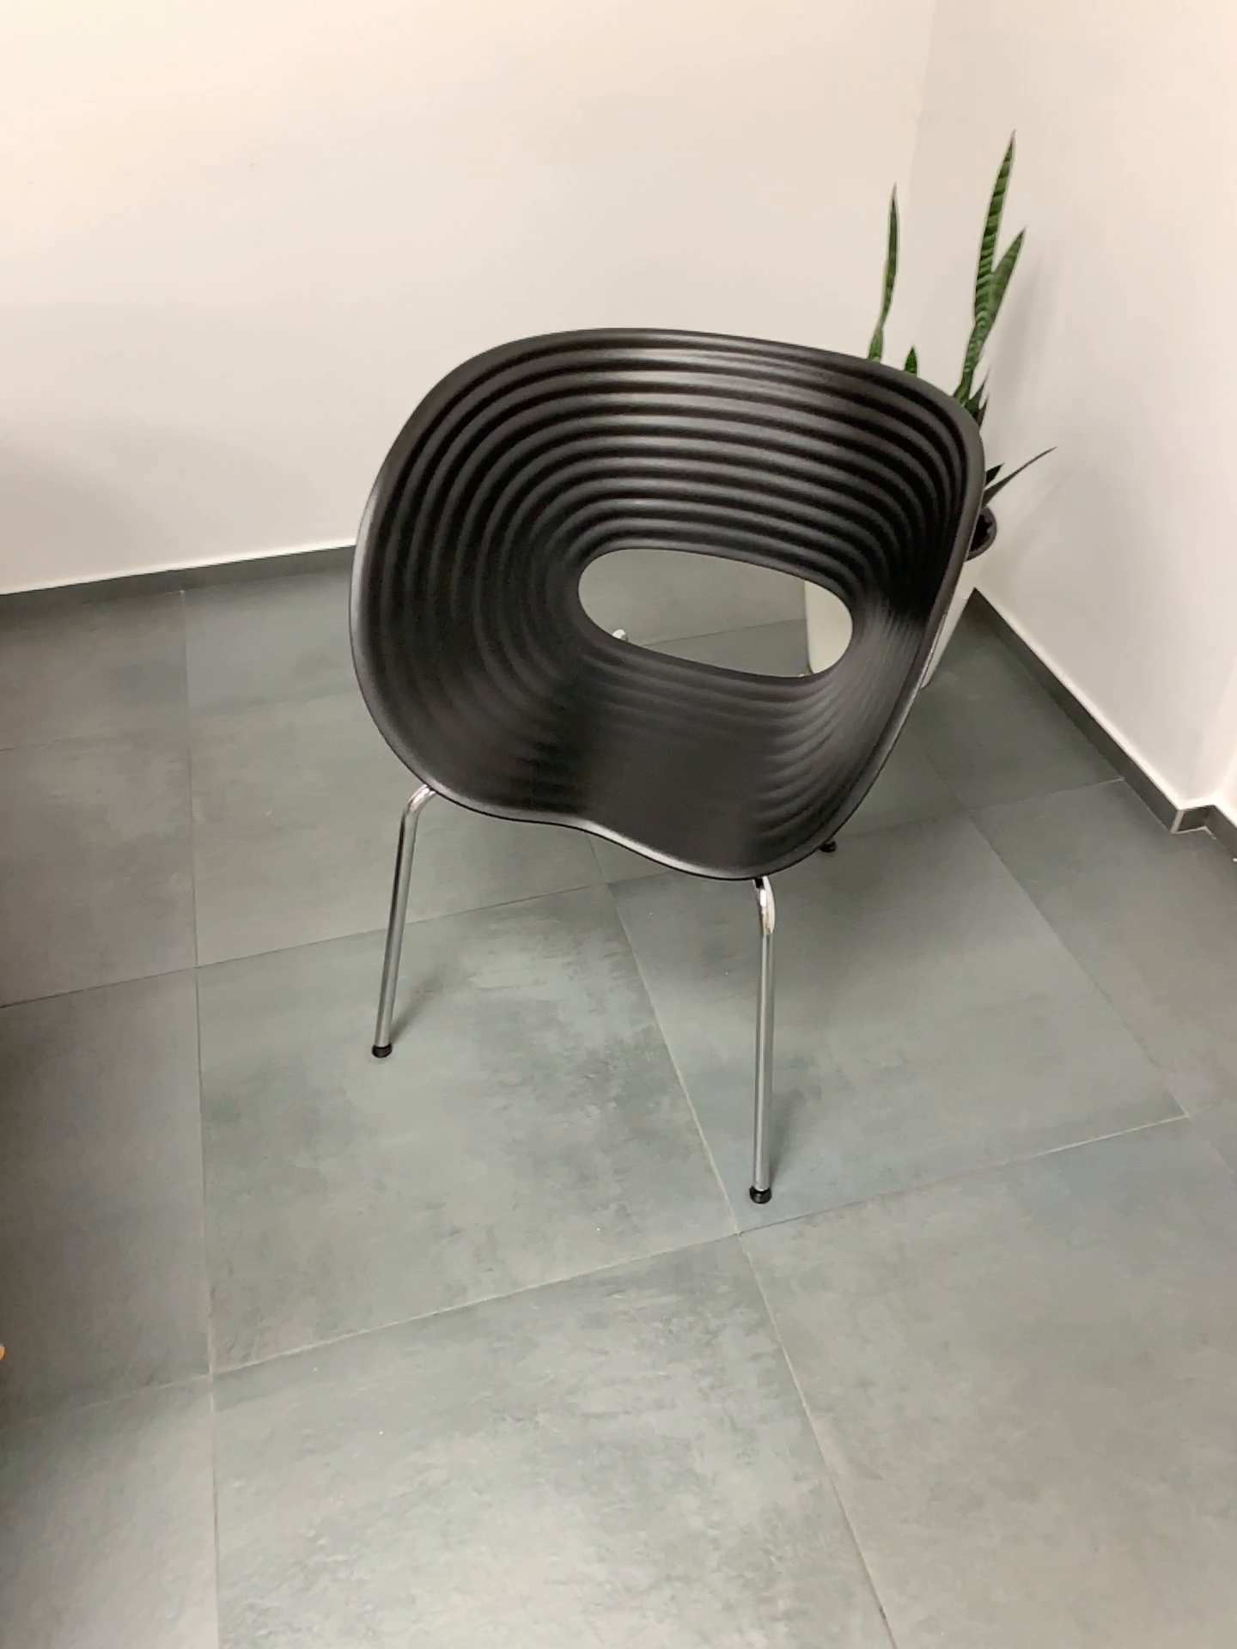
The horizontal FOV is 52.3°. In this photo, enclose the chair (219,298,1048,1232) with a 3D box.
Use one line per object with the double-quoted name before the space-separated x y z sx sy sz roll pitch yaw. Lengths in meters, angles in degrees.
"chair" 0.057 -0.093 1.562 0.650 0.796 0.643 16 45 18
